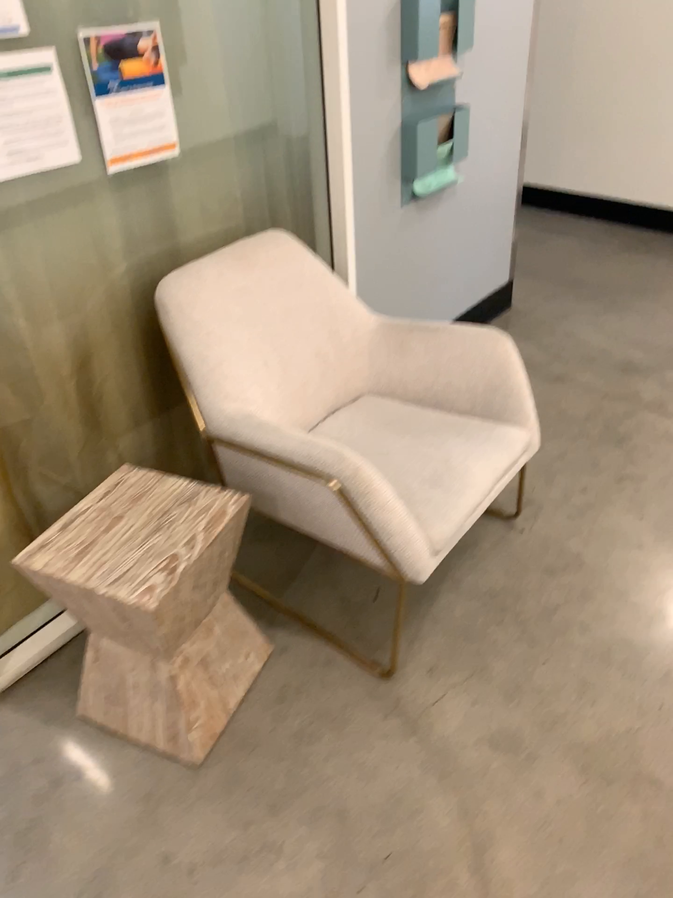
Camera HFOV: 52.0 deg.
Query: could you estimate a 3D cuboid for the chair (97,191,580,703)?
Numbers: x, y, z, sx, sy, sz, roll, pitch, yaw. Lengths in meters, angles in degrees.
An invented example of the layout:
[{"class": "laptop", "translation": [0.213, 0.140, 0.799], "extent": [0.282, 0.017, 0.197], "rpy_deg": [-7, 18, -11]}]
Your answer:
[{"class": "chair", "translation": [0.049, -0.082, 1.779], "extent": [0.772, 0.865, 0.783], "rpy_deg": [20, 40, 30]}]
